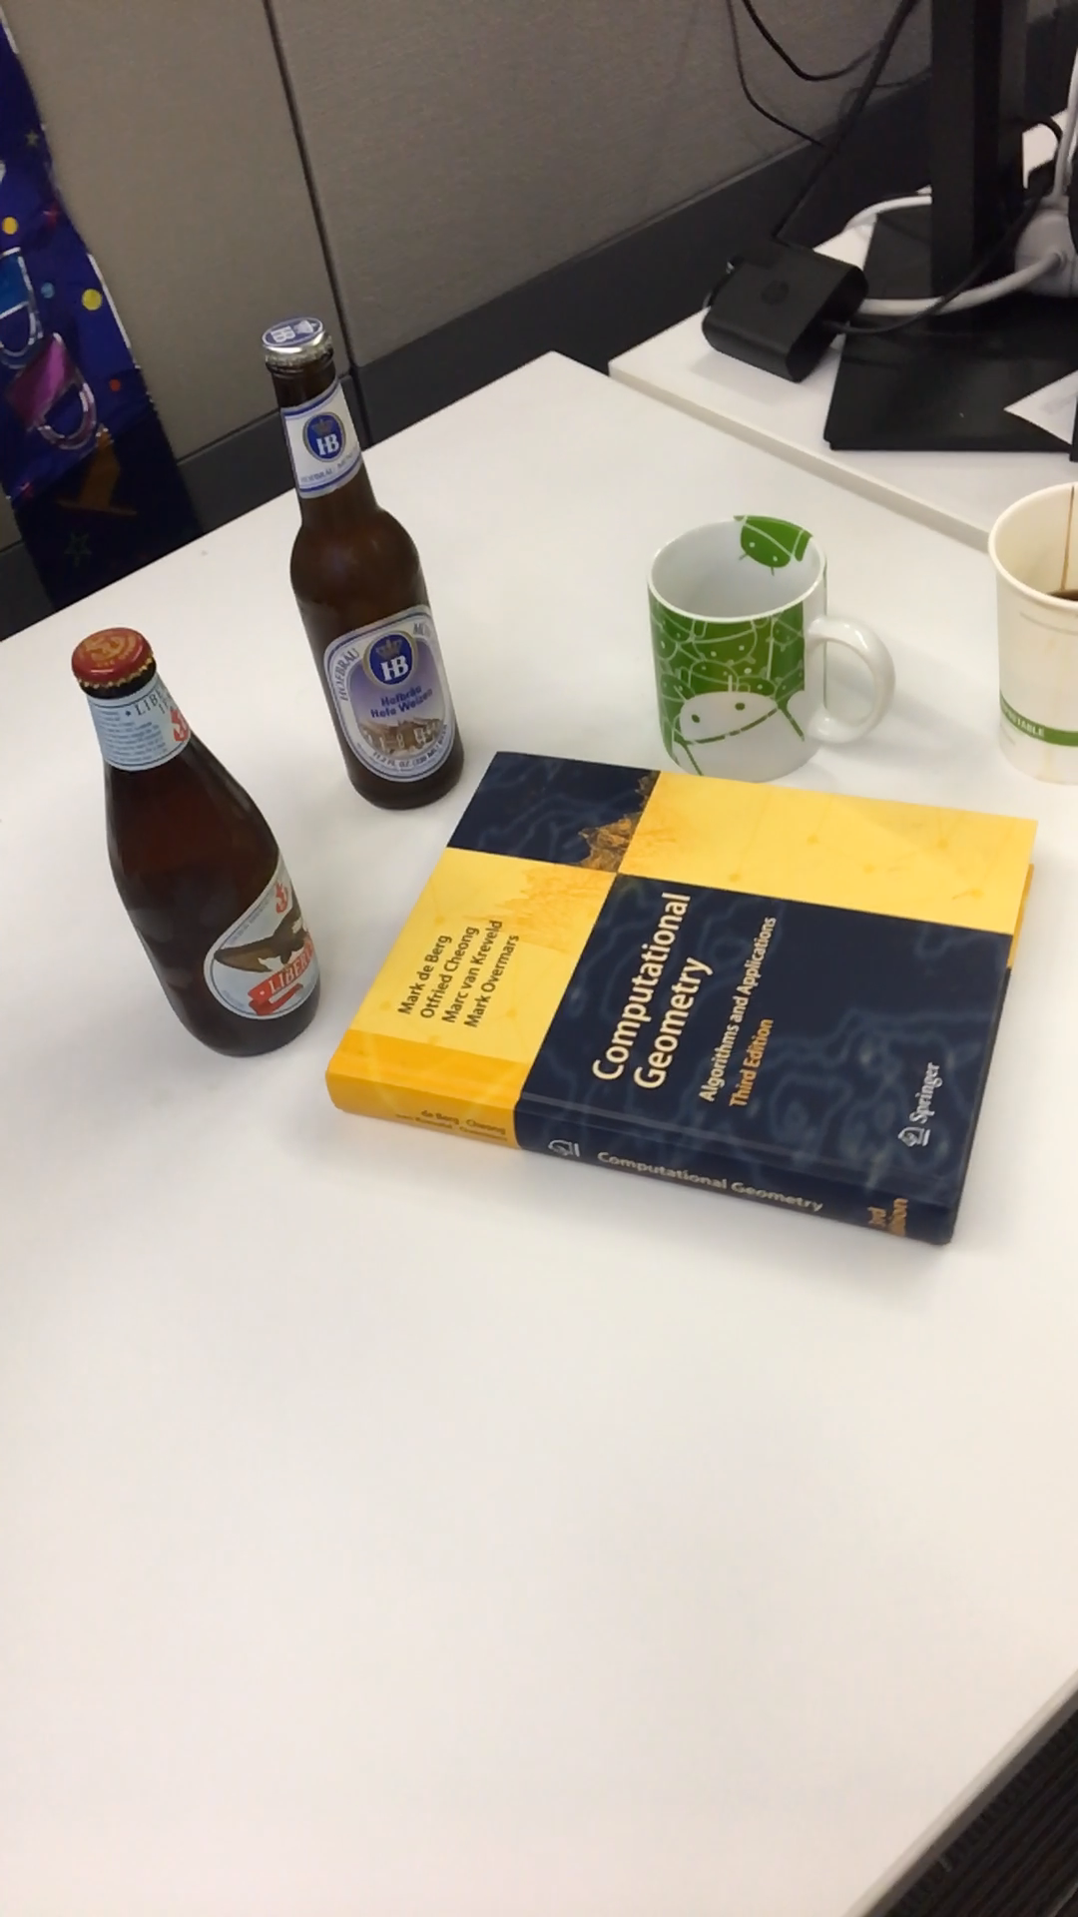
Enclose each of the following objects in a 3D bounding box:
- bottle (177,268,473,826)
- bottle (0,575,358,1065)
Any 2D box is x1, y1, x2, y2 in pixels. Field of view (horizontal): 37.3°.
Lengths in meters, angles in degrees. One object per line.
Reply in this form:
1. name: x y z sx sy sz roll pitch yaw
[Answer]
1. bottle: -0.087 -0.169 0.691 0.060 0.220 0.070 -24 48 -12
2. bottle: -0.132 -0.047 0.606 0.070 0.180 0.070 -5 47 5
